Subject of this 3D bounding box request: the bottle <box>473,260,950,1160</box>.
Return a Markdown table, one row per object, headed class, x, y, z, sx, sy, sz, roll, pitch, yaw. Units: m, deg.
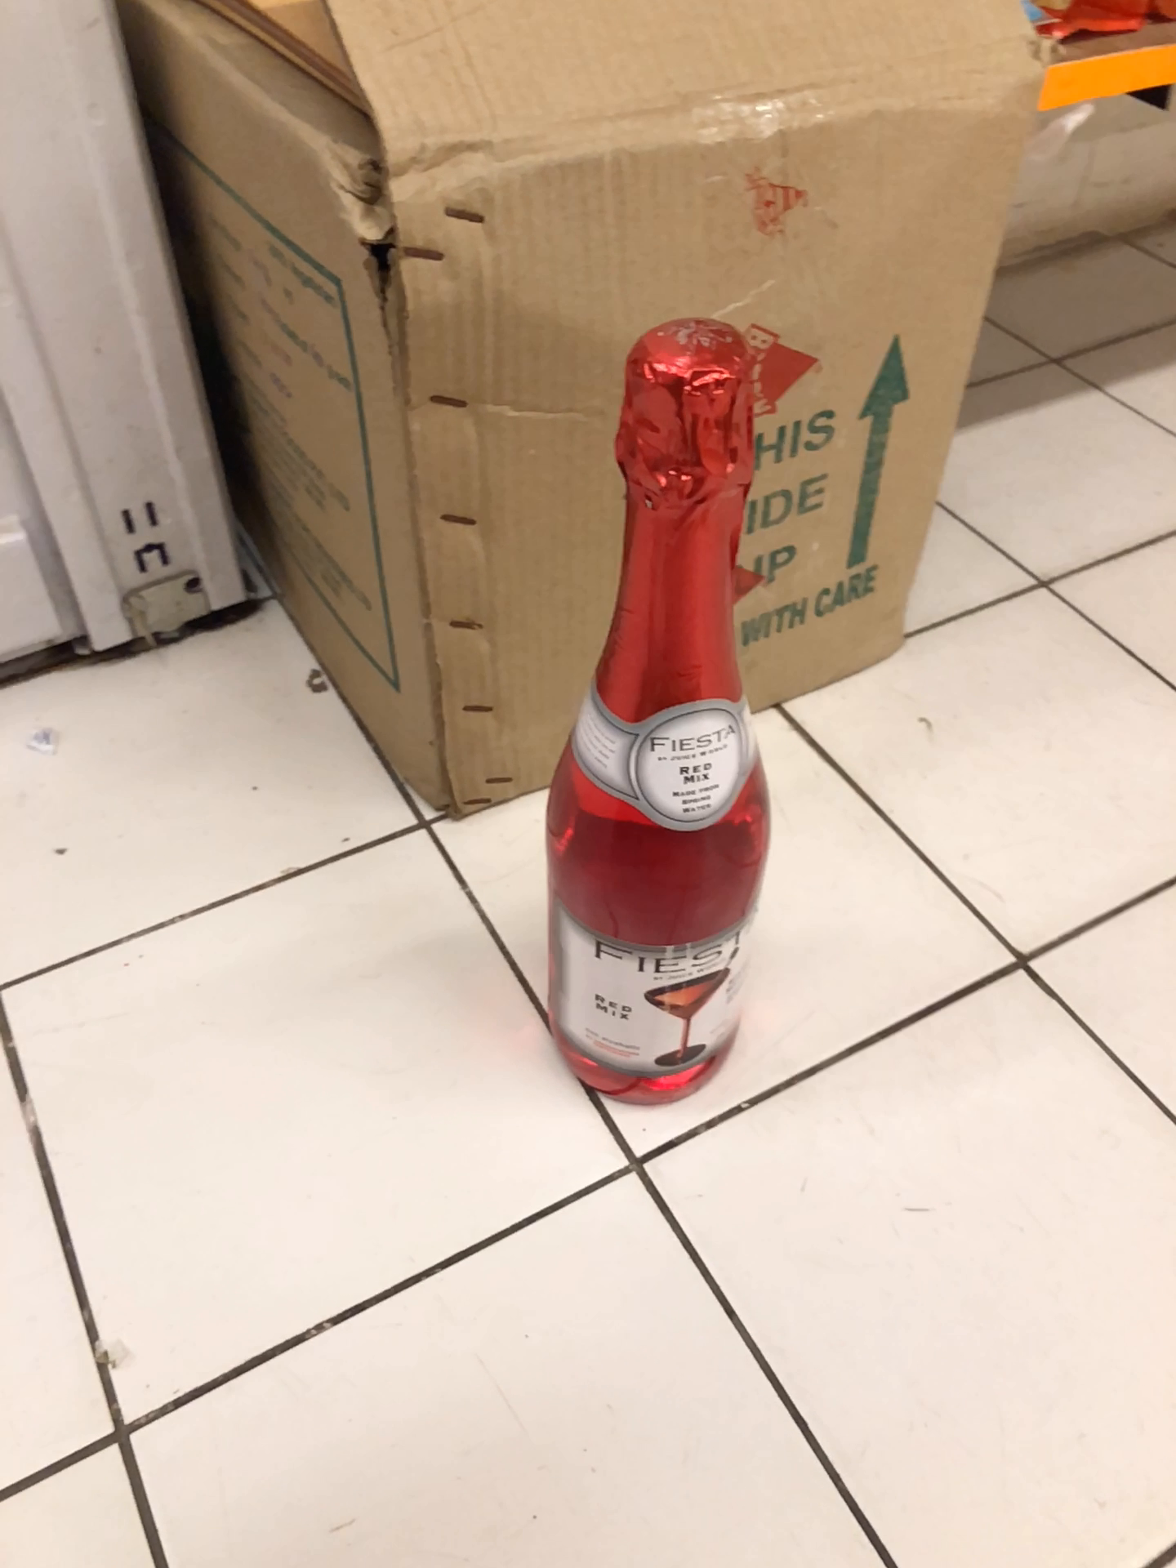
| class | x | y | z | sx | sy | sz | roll | pitch | yaw |
| --- | --- | --- | --- | --- | --- | --- | --- | --- | --- |
| bottle | 0.027 | -0.001 | 0.425 | 0.090 | 0.298 | 0.080 | -17 | 48 | -17 |
